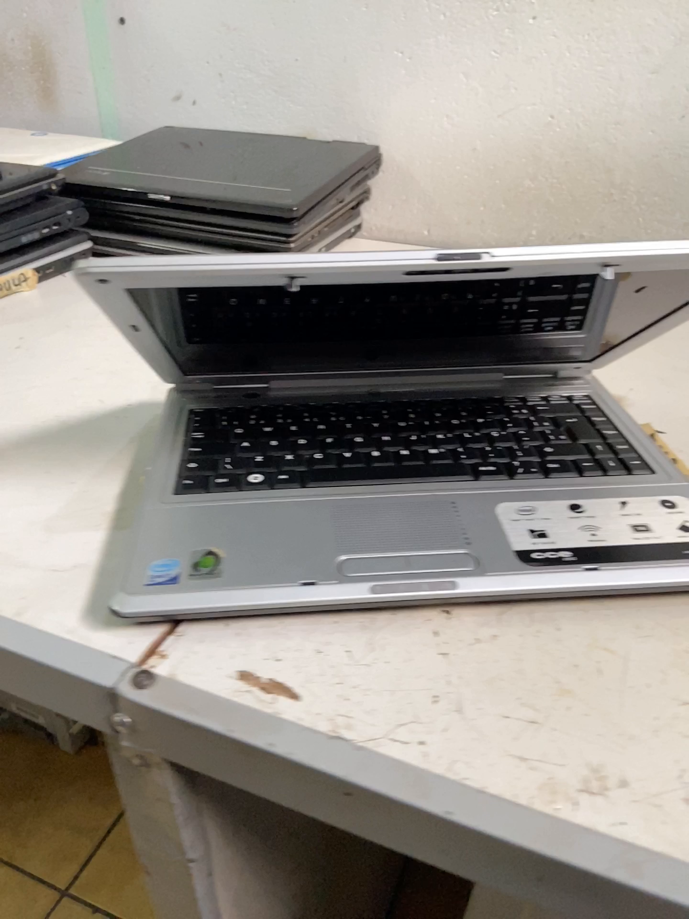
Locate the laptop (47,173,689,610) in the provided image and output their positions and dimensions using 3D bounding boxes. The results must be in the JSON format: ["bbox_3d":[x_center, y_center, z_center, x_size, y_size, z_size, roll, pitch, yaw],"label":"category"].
[{"bbox_3d":[0.044,-0.064,0.421,0.335,0.153,0.244,-3,31,-5],"label":"laptop"}]
